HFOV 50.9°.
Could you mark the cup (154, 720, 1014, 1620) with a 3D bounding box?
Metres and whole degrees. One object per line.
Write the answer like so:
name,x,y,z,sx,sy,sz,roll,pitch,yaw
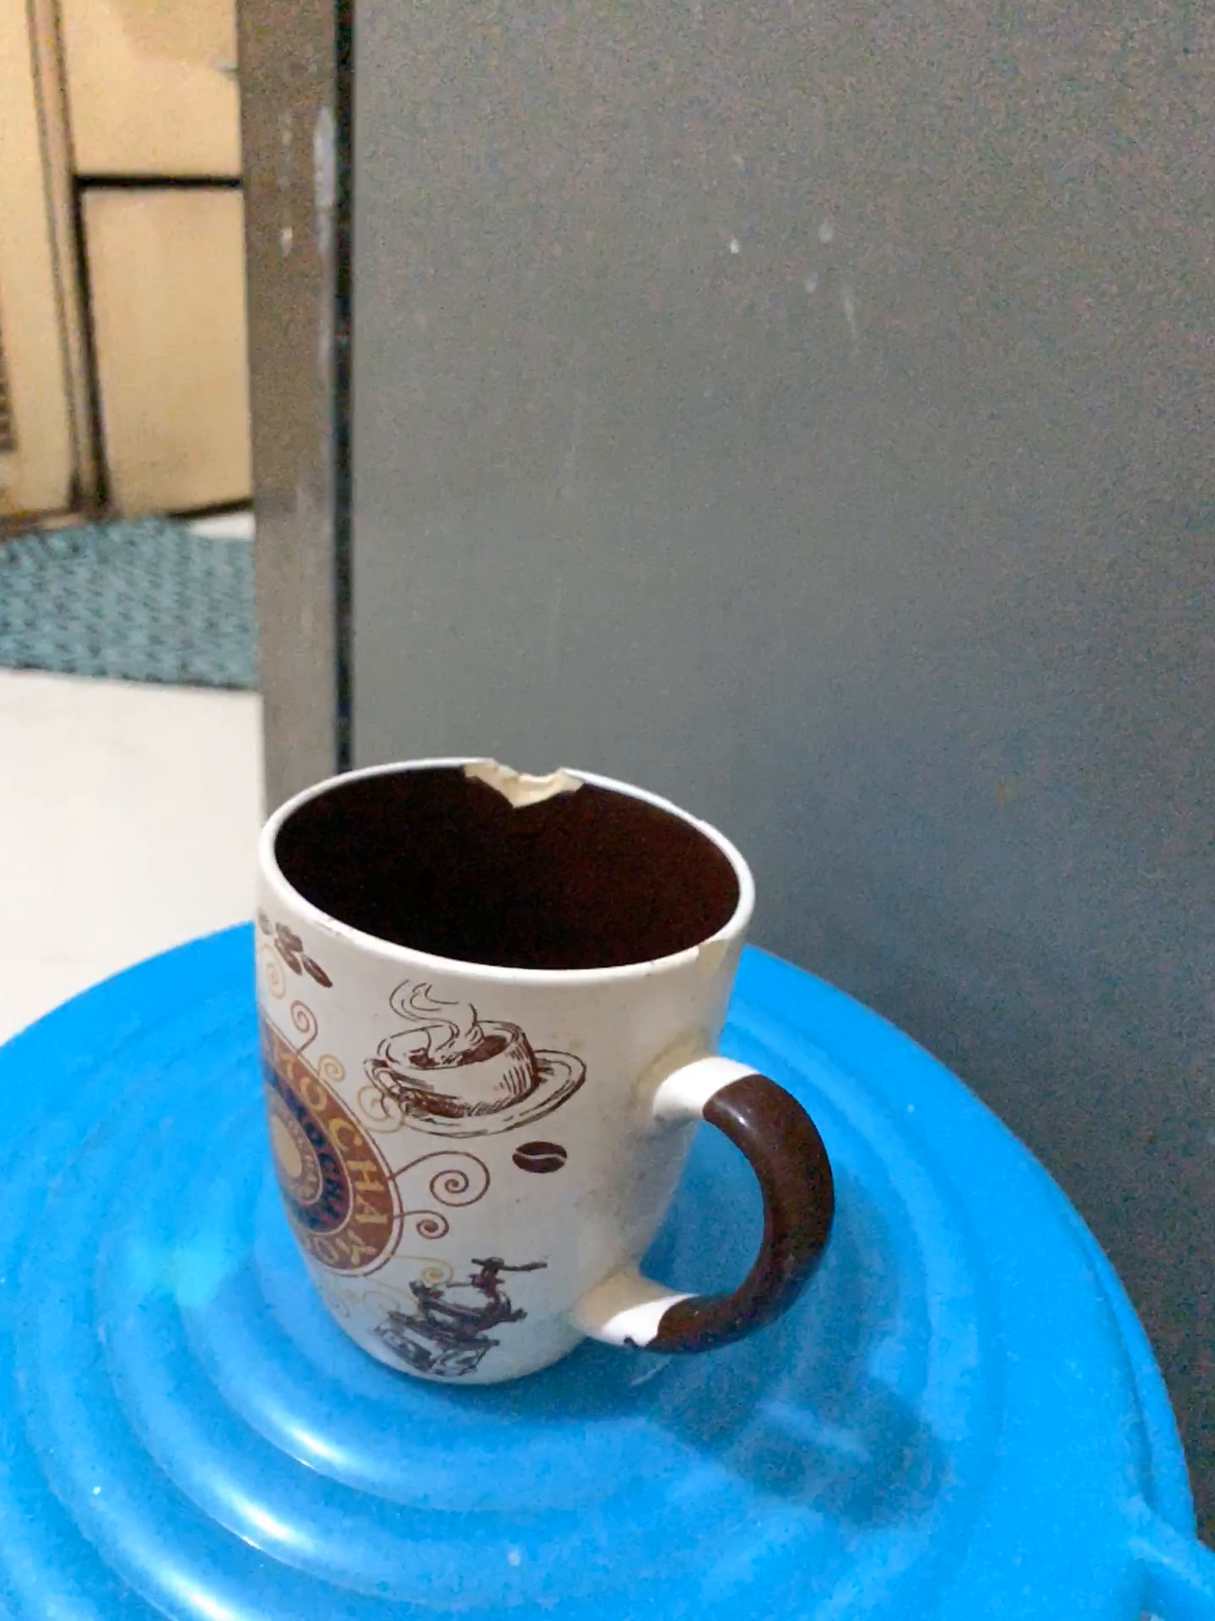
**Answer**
cup,-0.009,0.048,0.207,0.110,0.082,0.071,23,28,31
